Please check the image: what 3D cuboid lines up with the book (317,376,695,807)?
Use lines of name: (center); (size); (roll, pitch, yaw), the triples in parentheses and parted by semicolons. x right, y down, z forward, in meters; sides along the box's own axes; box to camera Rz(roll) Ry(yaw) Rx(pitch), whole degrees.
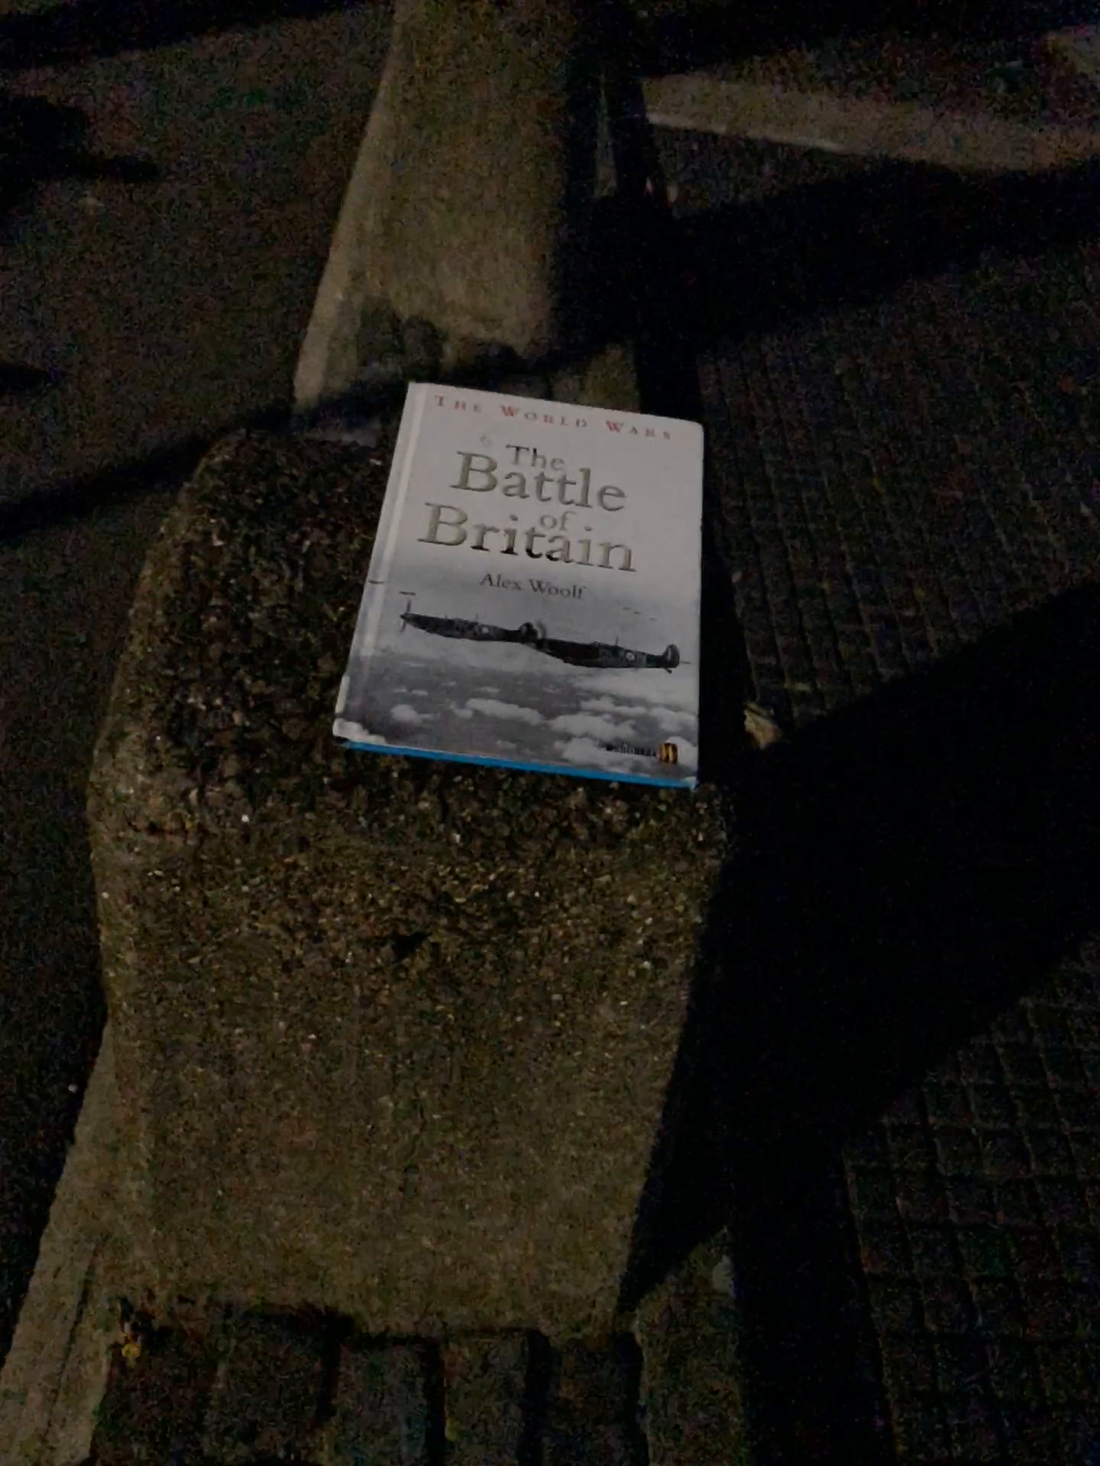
book: (-0.012, -0.085, 0.590); (0.170, 0.020, 0.246); (8, 57, -3)
